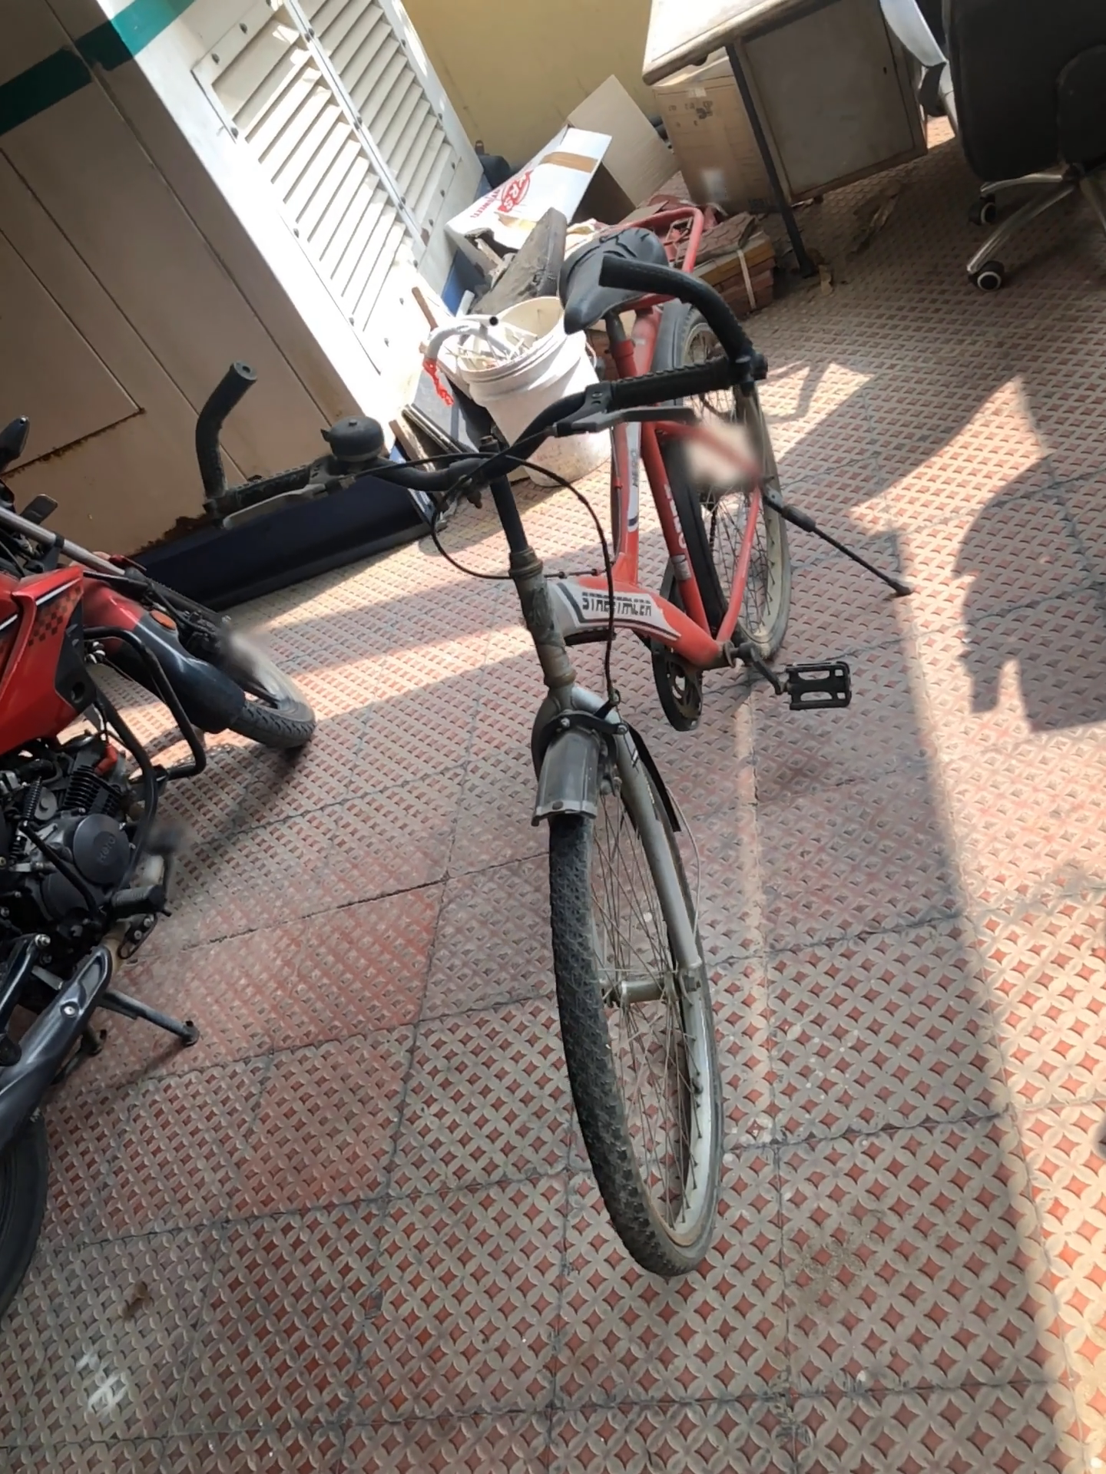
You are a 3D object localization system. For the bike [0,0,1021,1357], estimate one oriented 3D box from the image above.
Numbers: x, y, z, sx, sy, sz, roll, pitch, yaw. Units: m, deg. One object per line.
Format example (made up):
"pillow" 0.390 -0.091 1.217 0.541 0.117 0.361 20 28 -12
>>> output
"bike" 0.159 -0.210 1.620 0.576 0.963 1.617 -12 41 25
